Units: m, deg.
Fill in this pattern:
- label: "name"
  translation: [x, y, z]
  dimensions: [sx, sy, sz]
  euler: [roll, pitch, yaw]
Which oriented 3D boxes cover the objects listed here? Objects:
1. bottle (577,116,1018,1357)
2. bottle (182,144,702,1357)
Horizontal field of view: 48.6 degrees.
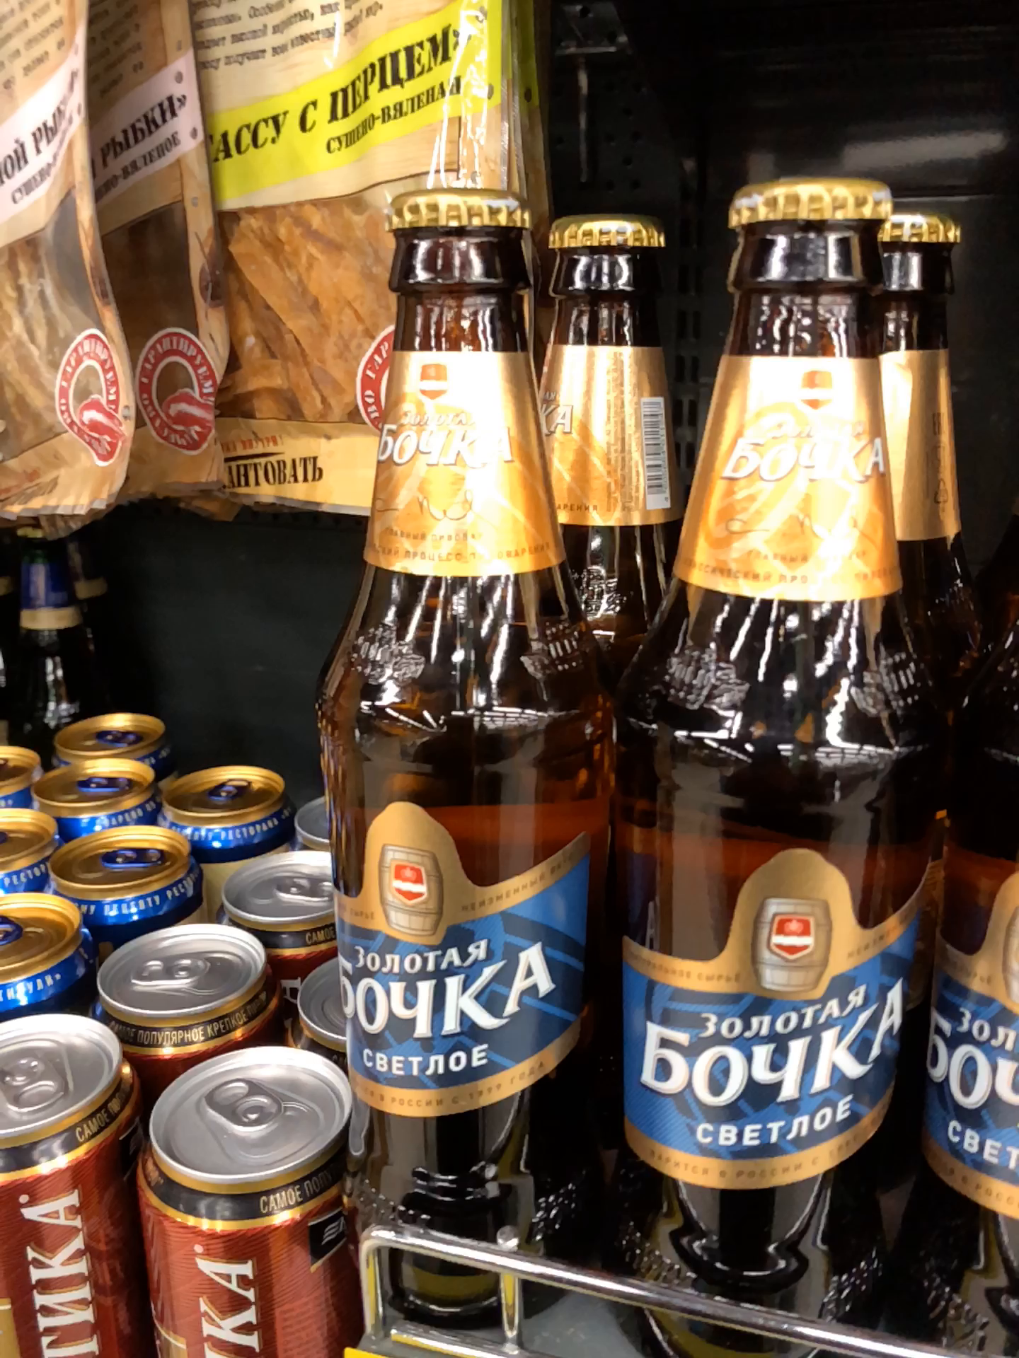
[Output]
- label: "bottle"
  translation: [0.050, 0.025, 0.219]
  dimensions: [0.070, 0.234, 0.060]
  euler: [0, 17, 3]
- label: "bottle"
  translation: [-0.008, 0.020, 0.242]
  dimensions: [0.070, 0.234, 0.070]
  euler: [0, 17, 0]
